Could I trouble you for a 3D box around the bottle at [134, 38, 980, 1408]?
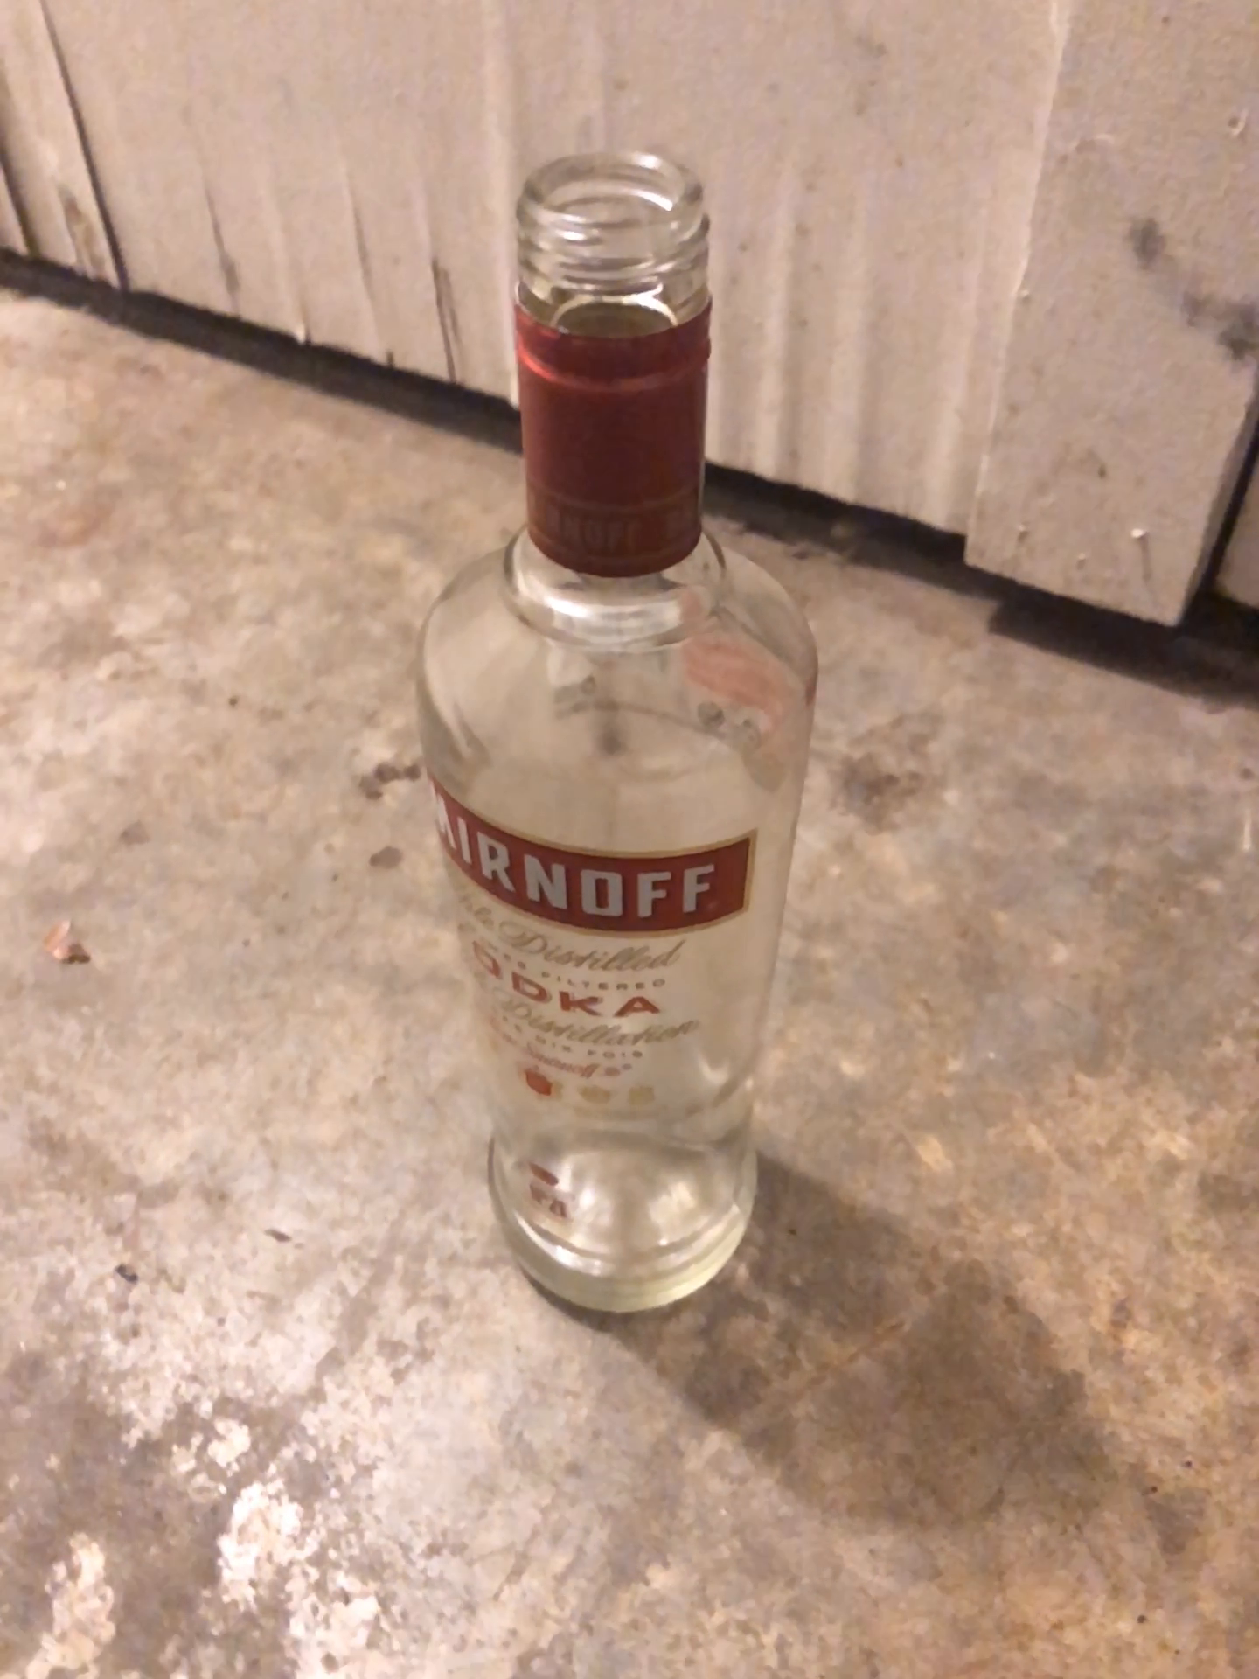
[{"bbox_3d":[-0.006,0.010,0.293,0.080,0.288,0.080,-1,48,1],"label":"bottle"}]
